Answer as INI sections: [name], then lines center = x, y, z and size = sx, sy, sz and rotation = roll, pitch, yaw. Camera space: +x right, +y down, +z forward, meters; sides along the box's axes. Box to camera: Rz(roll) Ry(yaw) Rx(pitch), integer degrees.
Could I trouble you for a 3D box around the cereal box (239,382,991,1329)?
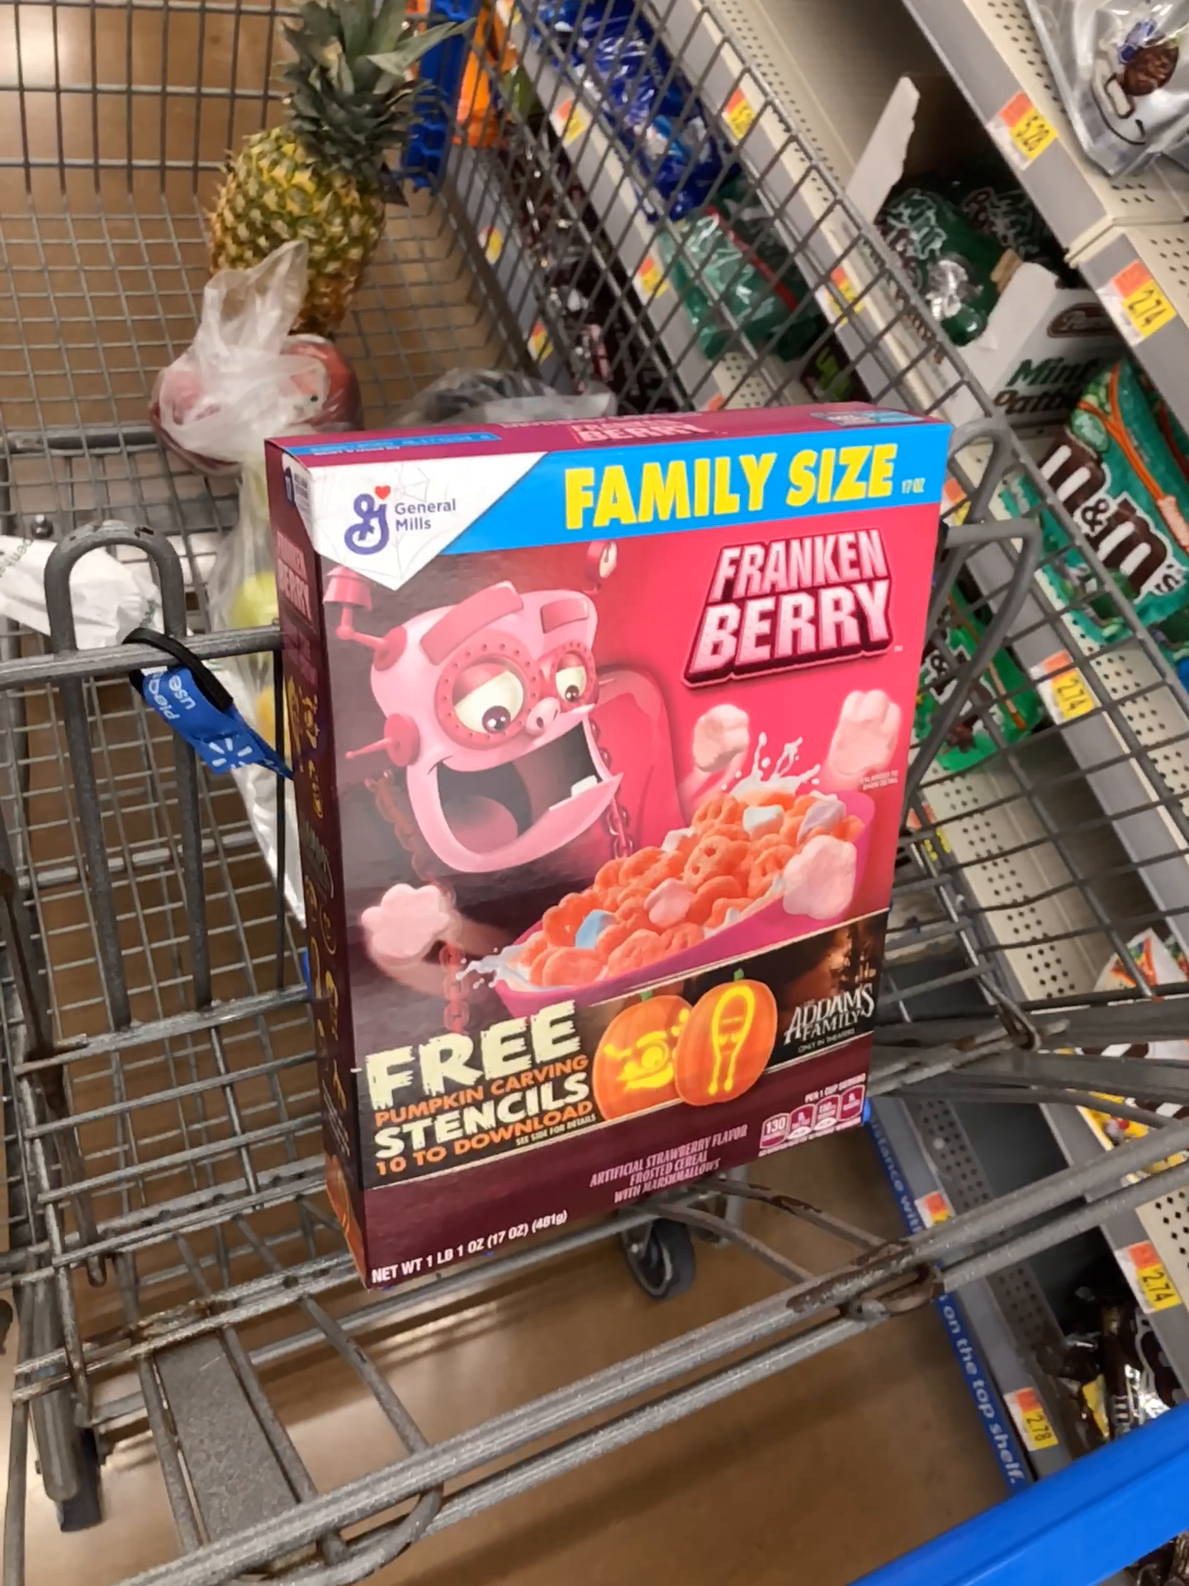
[cereal box]
center = 0.010, 0.020, 0.497
size = 0.240, 0.320, 0.070
rotation = -11, 27, -23
